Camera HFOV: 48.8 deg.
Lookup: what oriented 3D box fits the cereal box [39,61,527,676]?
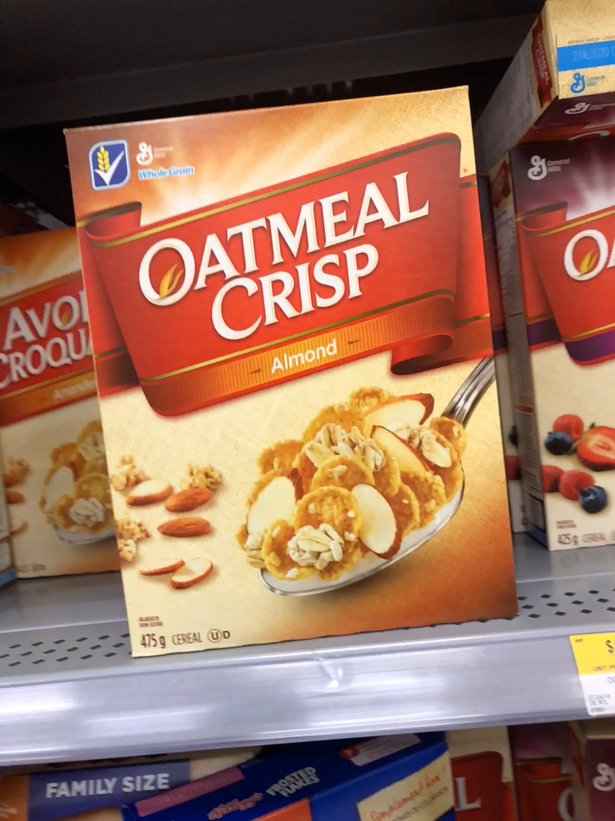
[{"bbox_3d":[-0.010,-0.020,0.357,0.210,0.280,0.050,-6,2,0],"label":"cereal box"}]
